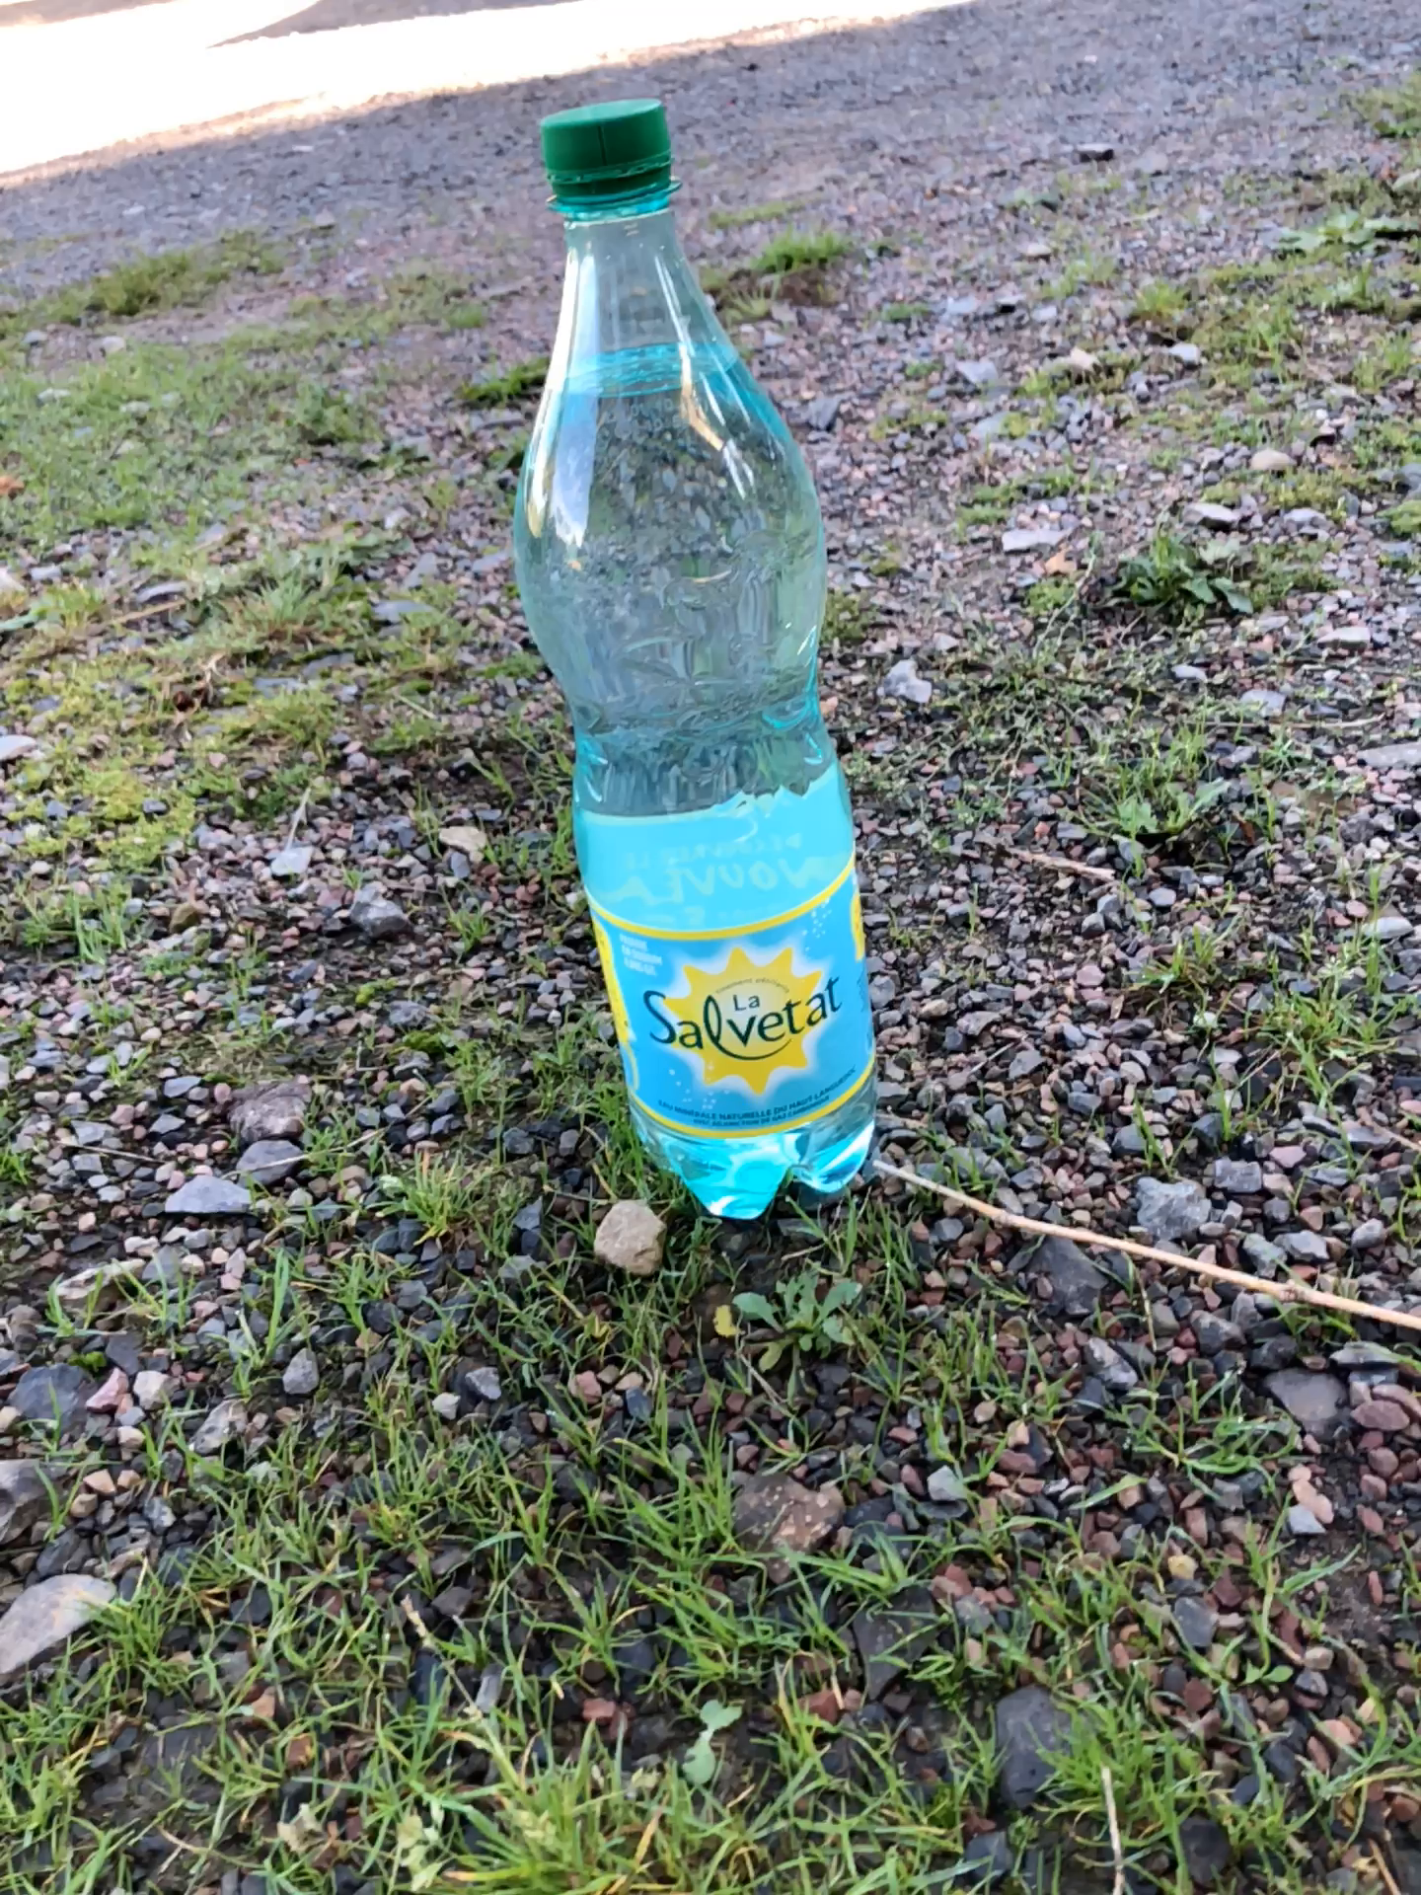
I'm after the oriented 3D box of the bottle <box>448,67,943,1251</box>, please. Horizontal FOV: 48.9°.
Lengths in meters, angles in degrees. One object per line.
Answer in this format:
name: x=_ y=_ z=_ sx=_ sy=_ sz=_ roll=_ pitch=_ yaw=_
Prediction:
bottle: x=0.004 y=-0.067 z=0.436 sx=0.090 sy=0.298 sz=0.101 roll=-9 pitch=33 yaw=-2
